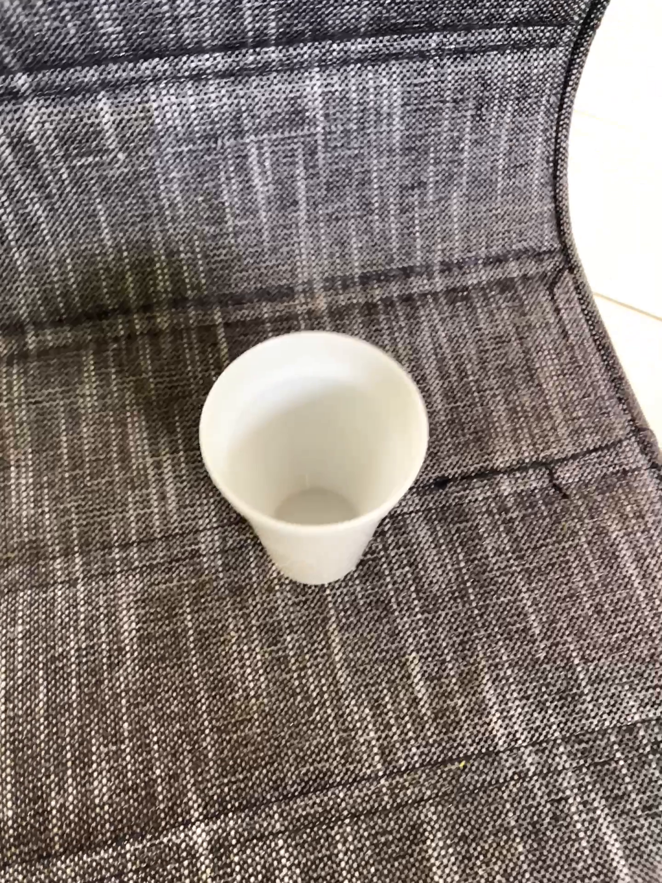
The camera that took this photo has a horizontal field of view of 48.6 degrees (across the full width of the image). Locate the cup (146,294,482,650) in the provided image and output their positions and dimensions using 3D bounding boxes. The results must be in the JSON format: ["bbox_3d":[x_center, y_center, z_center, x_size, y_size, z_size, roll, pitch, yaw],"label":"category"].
[{"bbox_3d":[-0.008,0.019,0.297,0.080,0.110,0.080,1,67,-3],"label":"cup"}]
